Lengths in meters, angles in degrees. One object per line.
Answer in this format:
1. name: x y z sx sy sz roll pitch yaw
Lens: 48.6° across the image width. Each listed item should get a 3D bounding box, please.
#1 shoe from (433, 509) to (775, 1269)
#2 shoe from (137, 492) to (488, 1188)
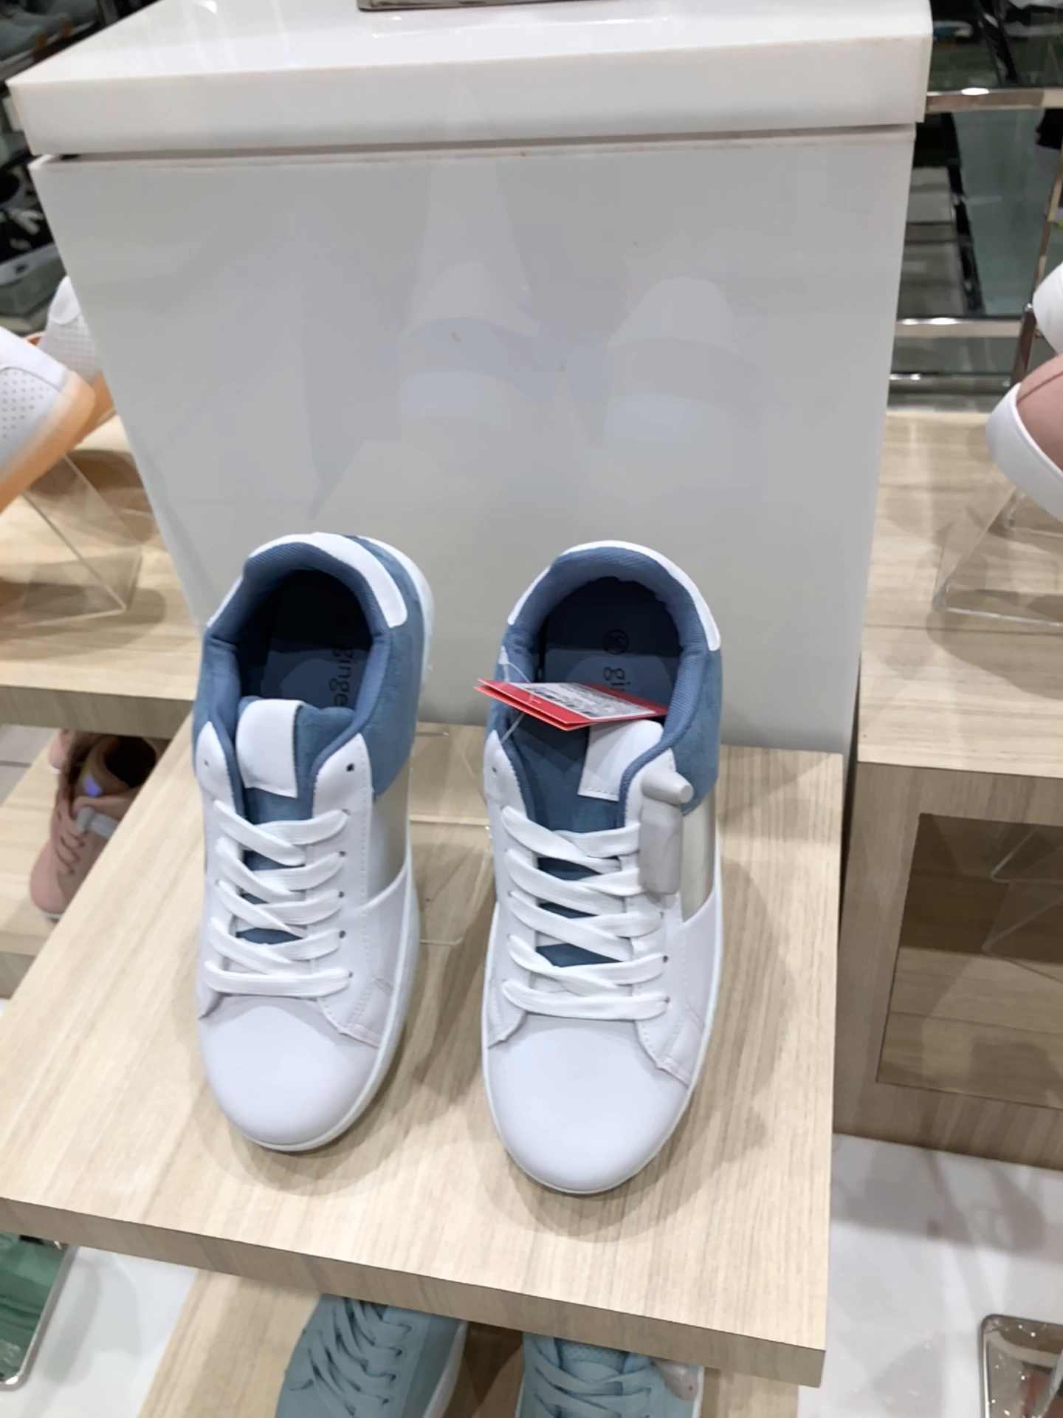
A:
1. shoe: 0.033 0.060 0.462 0.100 0.260 0.090 5 1 13
2. shoe: -0.088 0.047 0.499 0.100 0.260 0.090 5 1 13
